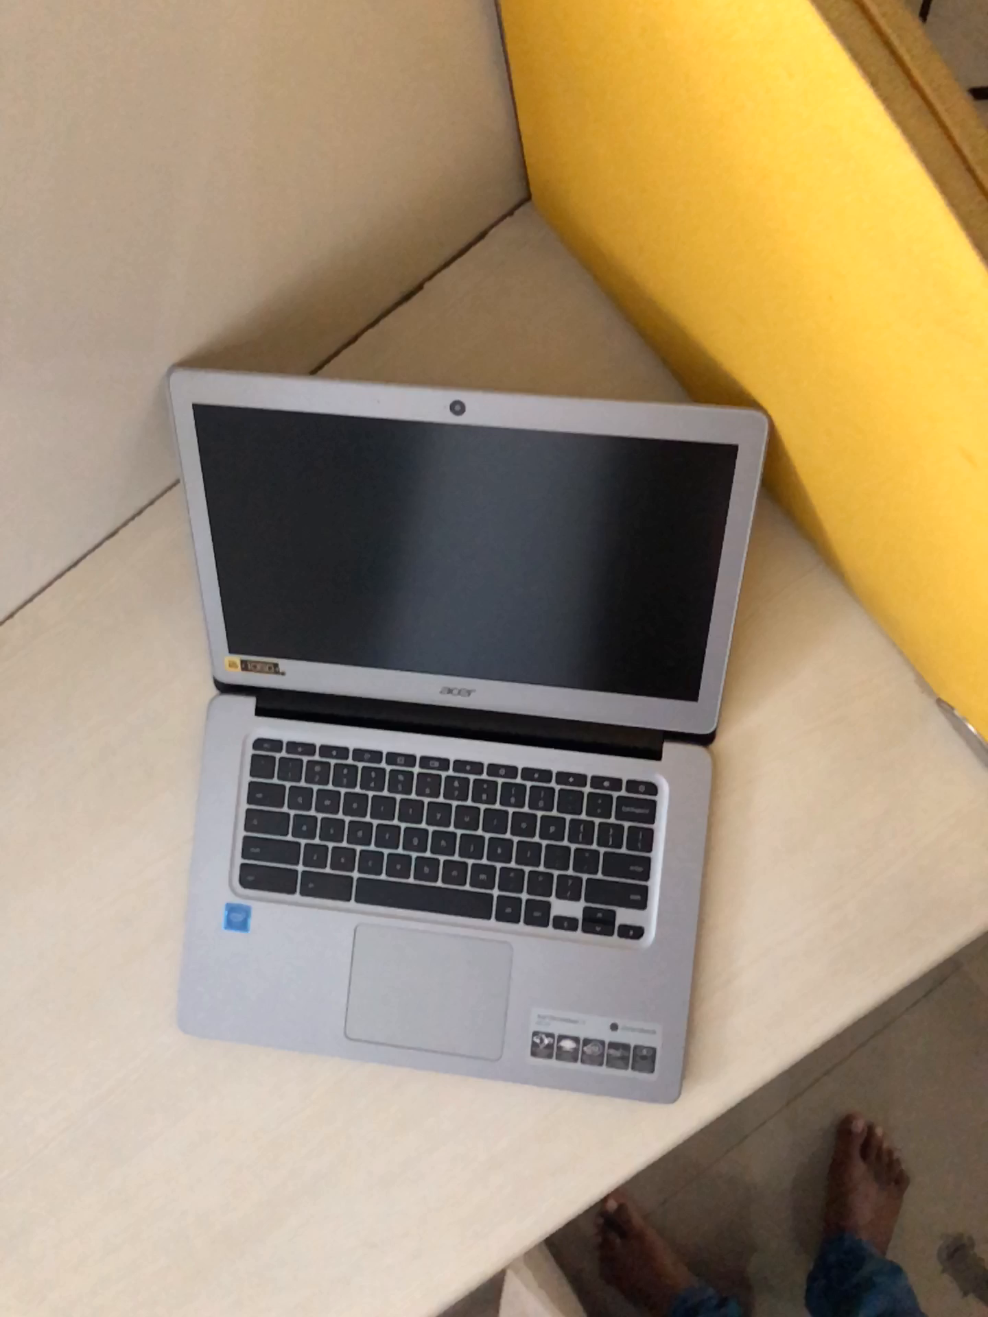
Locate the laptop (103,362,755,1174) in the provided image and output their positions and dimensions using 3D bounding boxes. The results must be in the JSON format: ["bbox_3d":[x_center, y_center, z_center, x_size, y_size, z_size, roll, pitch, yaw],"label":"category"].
[{"bbox_3d":[-0.036,0.055,0.652,0.319,0.124,0.409,6,92,7],"label":"laptop"}]
